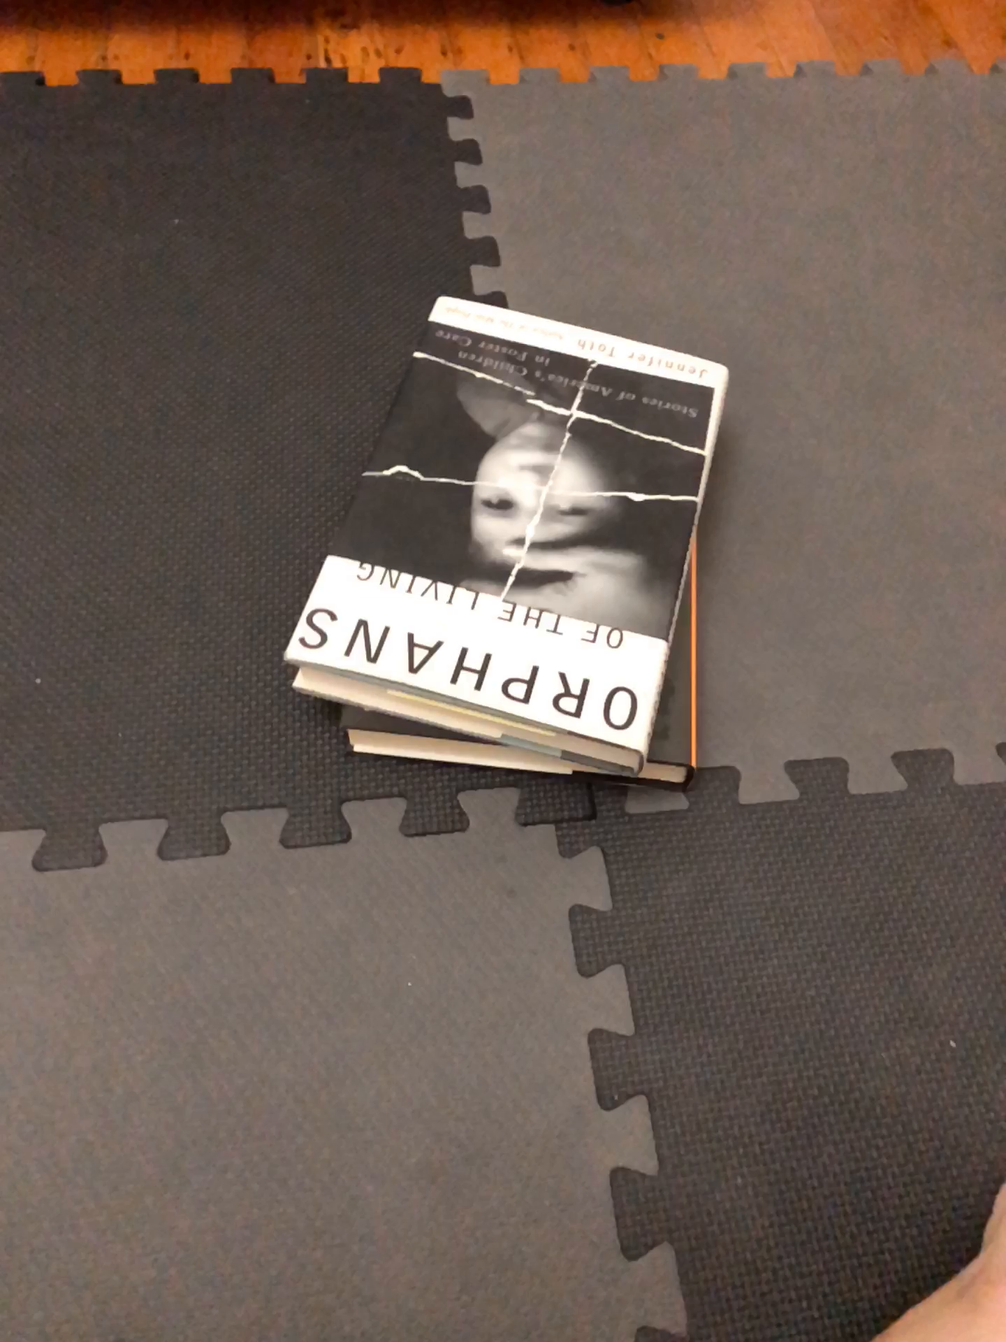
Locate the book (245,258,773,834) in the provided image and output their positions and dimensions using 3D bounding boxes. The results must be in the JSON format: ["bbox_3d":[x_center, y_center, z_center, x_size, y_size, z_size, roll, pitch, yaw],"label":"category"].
[{"bbox_3d":[0.018,-0.077,0.522,0.180,0.030,0.281,14,58,5],"label":"book"}]

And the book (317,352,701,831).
[{"bbox_3d":[0.010,-0.050,0.540,0.160,0.030,0.251,5,58,0],"label":"book"}]
